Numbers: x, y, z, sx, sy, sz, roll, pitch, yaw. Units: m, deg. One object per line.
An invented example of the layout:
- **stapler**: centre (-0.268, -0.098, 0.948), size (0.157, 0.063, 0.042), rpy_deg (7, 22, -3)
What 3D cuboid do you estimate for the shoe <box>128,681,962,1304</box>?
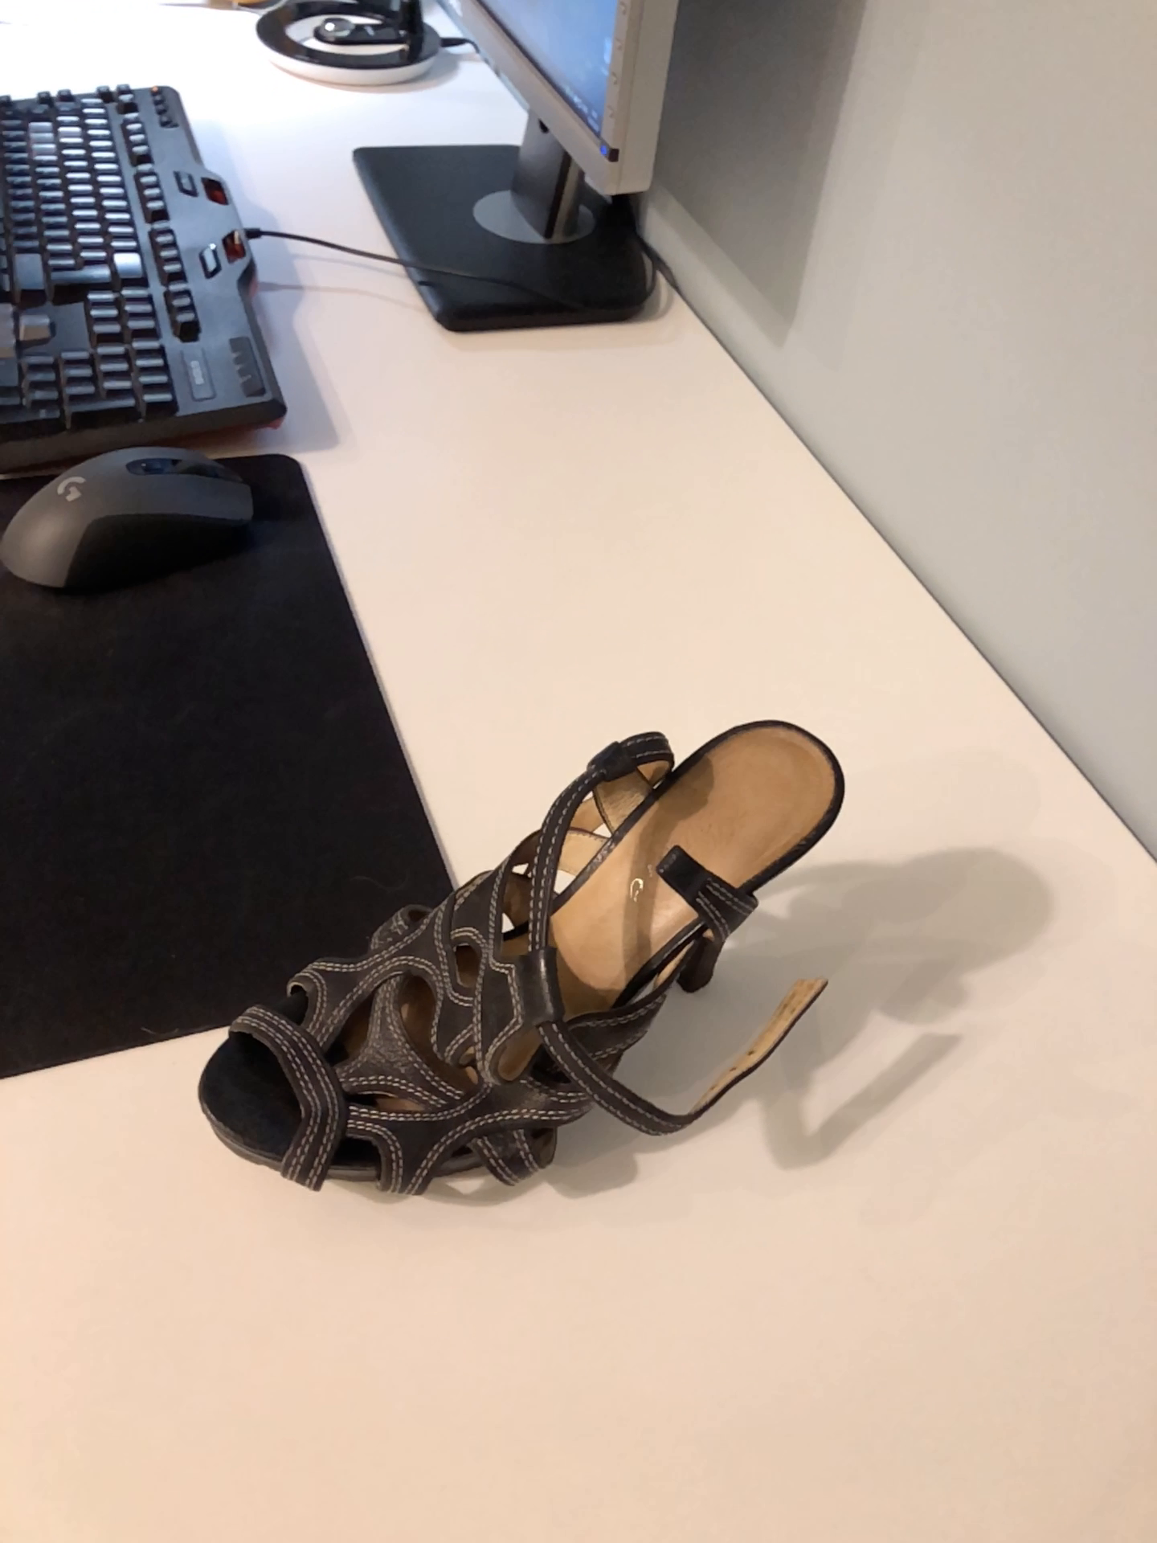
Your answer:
- **shoe**: centre (-0.013, 0.062, 0.402), size (0.220, 0.099, 0.101), rpy_deg (-13, 50, -20)
